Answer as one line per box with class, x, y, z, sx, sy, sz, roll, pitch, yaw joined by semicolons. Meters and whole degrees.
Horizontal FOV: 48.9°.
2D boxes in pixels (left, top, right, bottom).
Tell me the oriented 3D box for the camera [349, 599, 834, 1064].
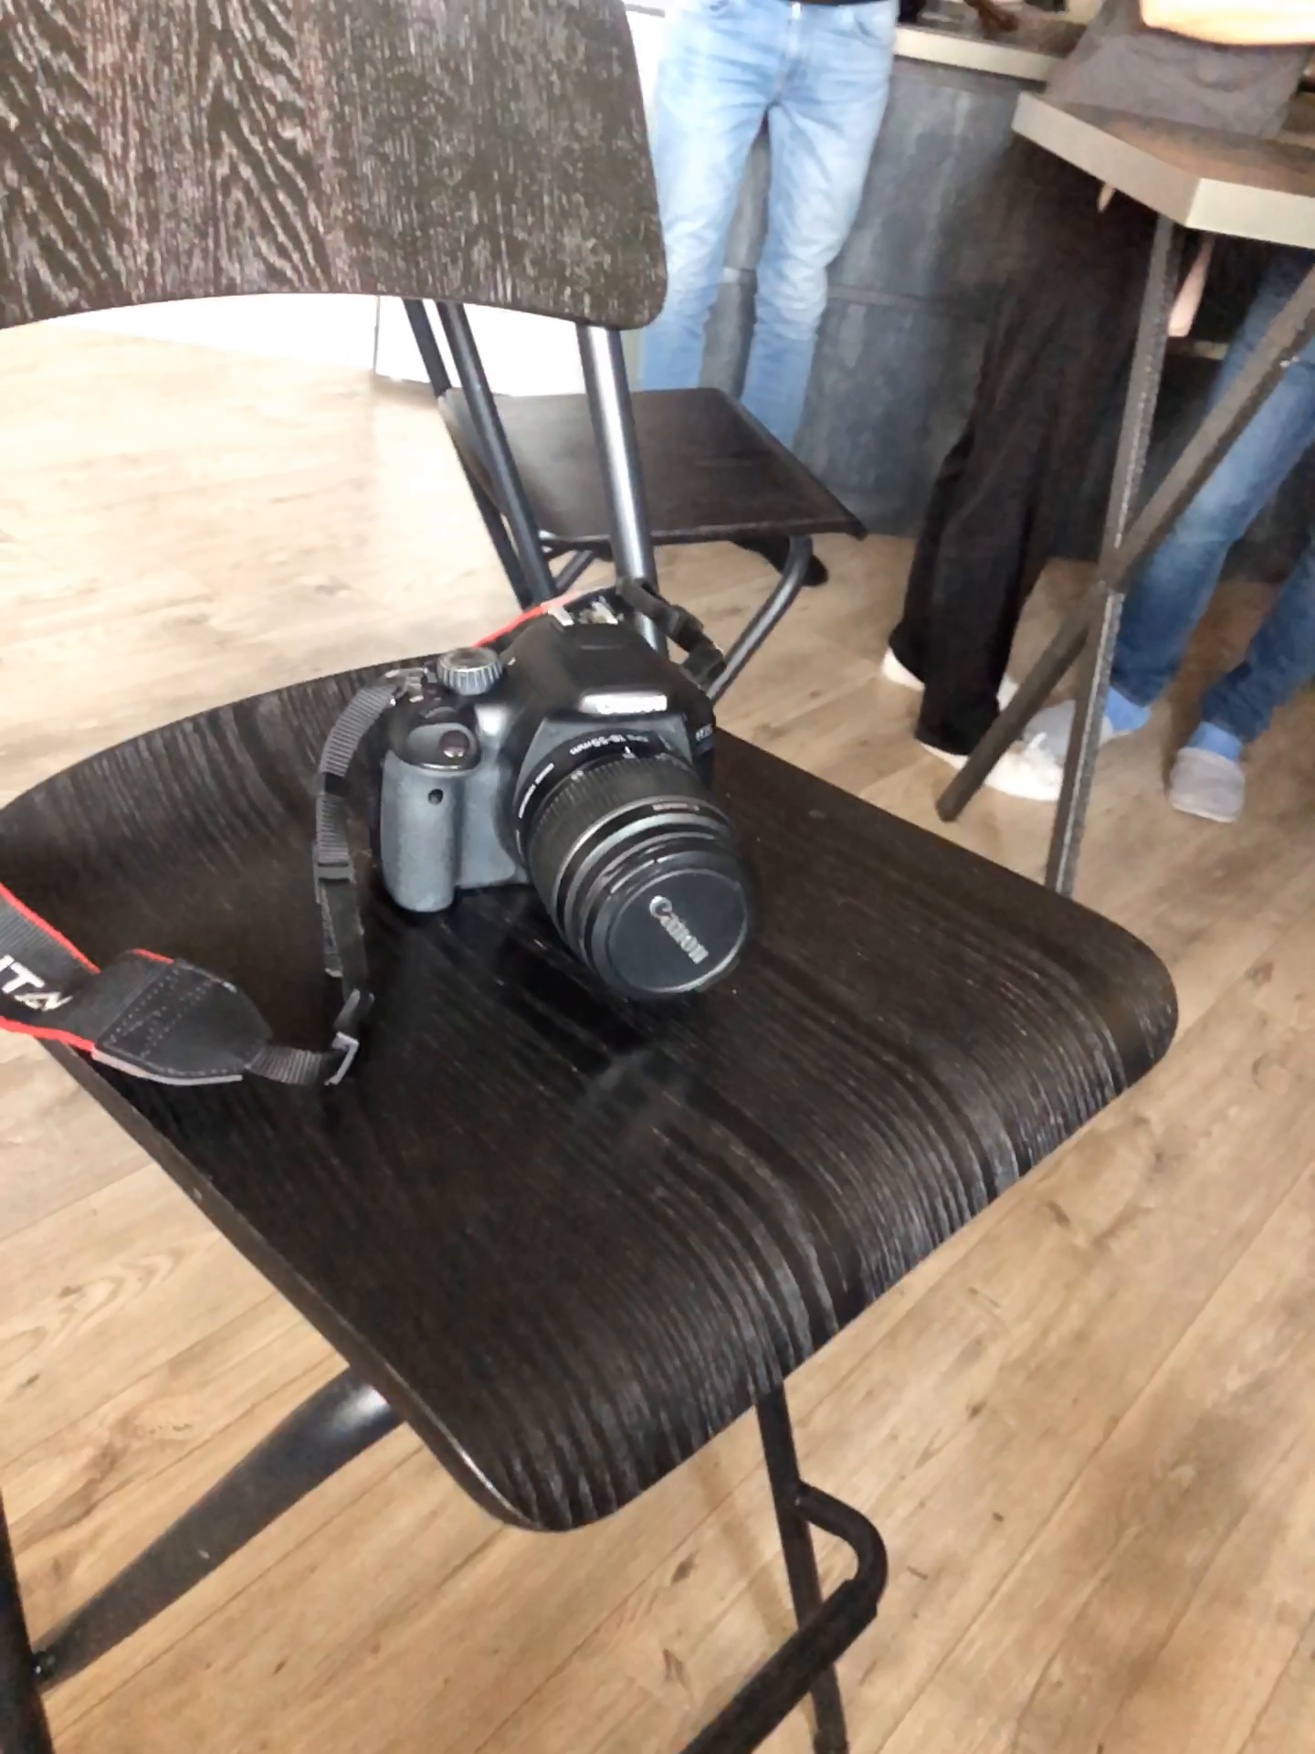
camera;-0.032;-0.024;0.507;0.120;0.092;0.141;-5;37;-22
